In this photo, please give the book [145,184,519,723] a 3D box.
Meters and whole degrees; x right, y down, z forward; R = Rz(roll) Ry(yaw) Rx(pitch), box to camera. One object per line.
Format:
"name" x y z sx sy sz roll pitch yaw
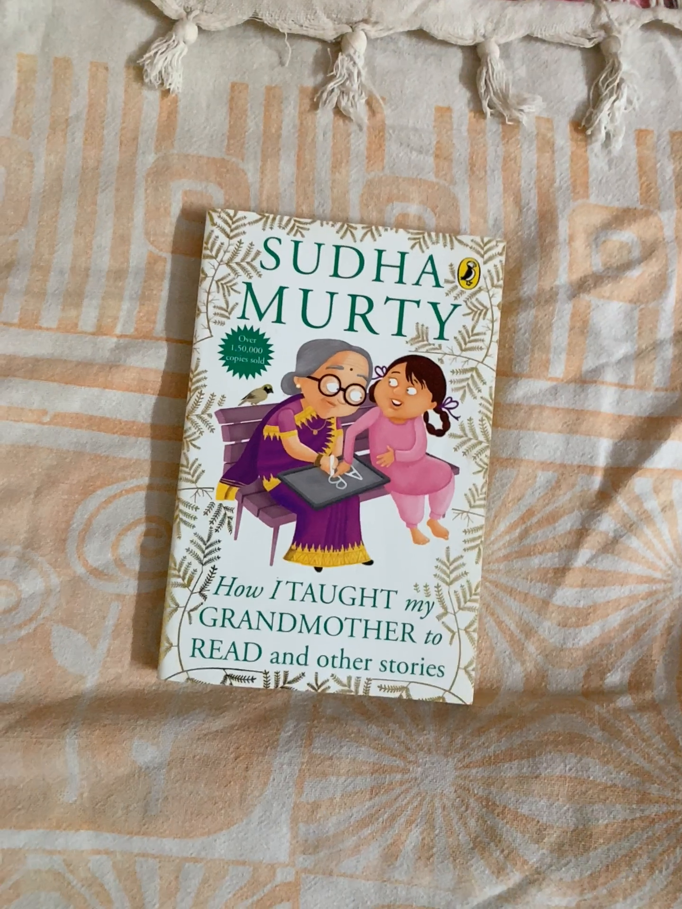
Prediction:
"book" 0.000 -0.003 0.282 0.130 0.020 0.200 4 83 -2
